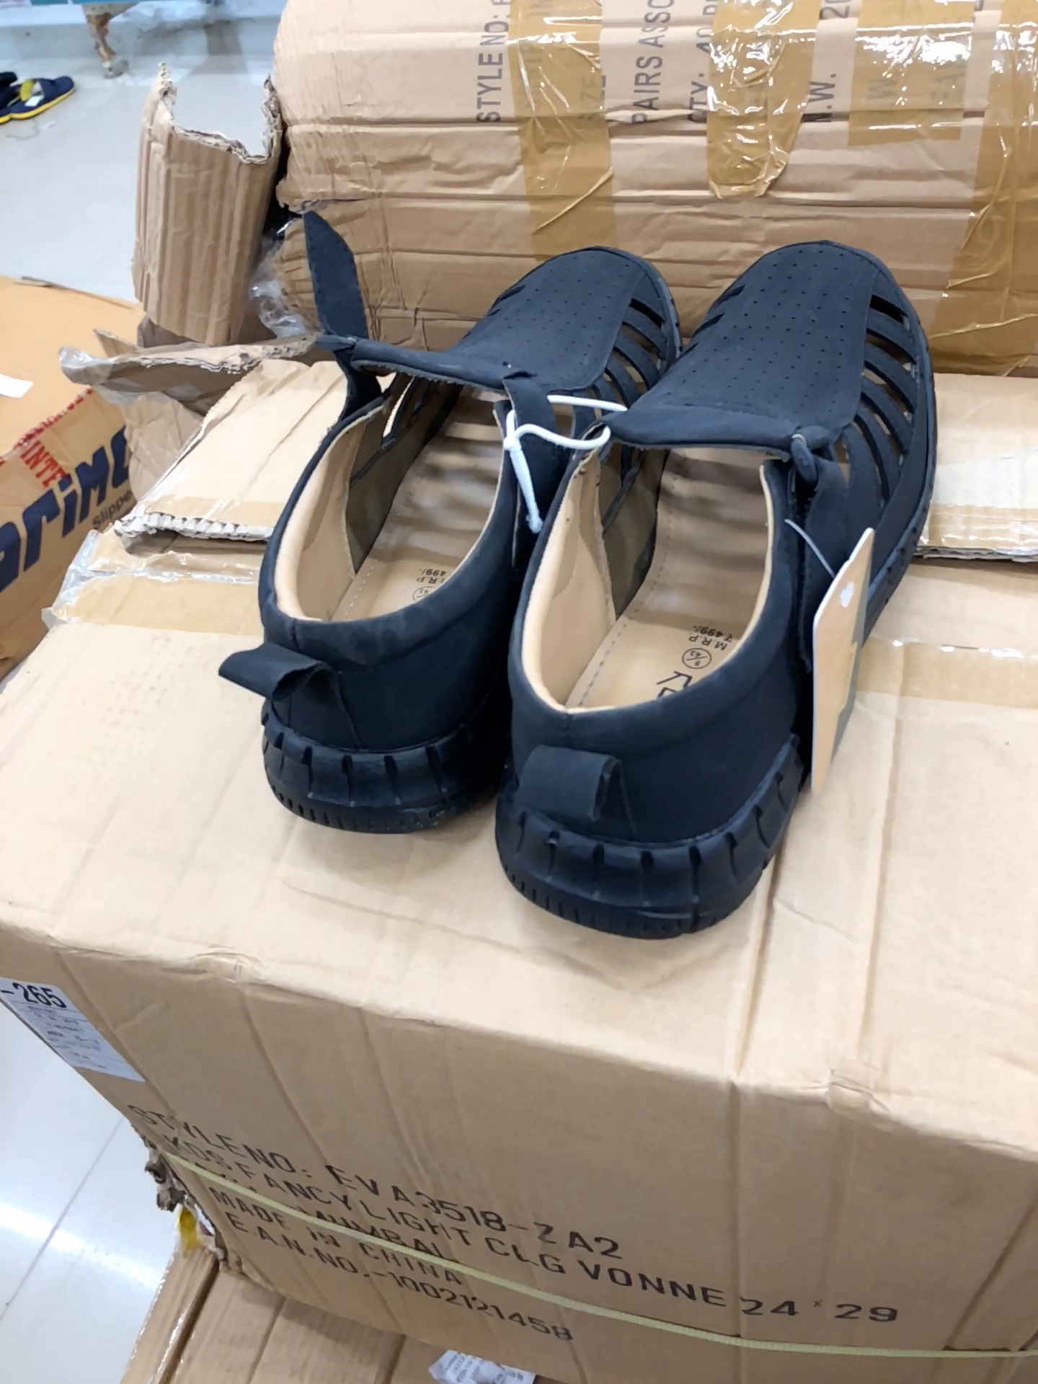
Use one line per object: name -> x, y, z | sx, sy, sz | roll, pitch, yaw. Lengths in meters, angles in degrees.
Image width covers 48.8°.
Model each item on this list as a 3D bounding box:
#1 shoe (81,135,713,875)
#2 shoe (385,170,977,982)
shoe -> -0.014, -0.088, 0.407 | 0.110, 0.099, 0.282 | 8, 49, 18
shoe -> 0.071, -0.061, 0.373 | 0.100, 0.099, 0.272 | 11, 50, 21
